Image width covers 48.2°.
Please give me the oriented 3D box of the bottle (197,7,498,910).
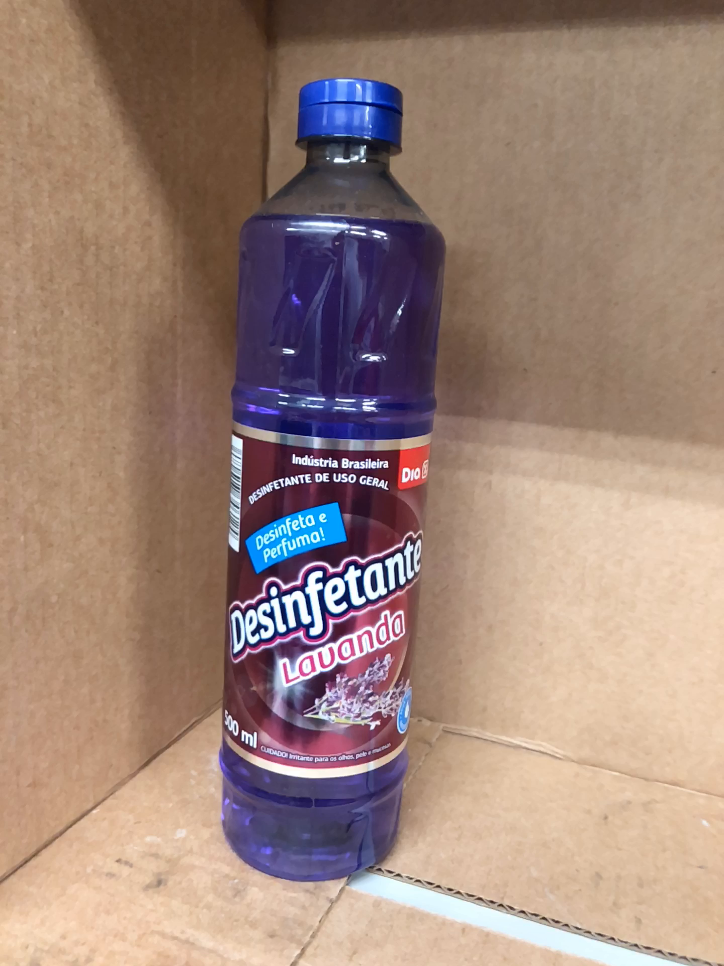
[{"bbox_3d":[-0.013,0.000,0.250,0.070,0.239,0.070,3,12,-1],"label":"bottle"}]
